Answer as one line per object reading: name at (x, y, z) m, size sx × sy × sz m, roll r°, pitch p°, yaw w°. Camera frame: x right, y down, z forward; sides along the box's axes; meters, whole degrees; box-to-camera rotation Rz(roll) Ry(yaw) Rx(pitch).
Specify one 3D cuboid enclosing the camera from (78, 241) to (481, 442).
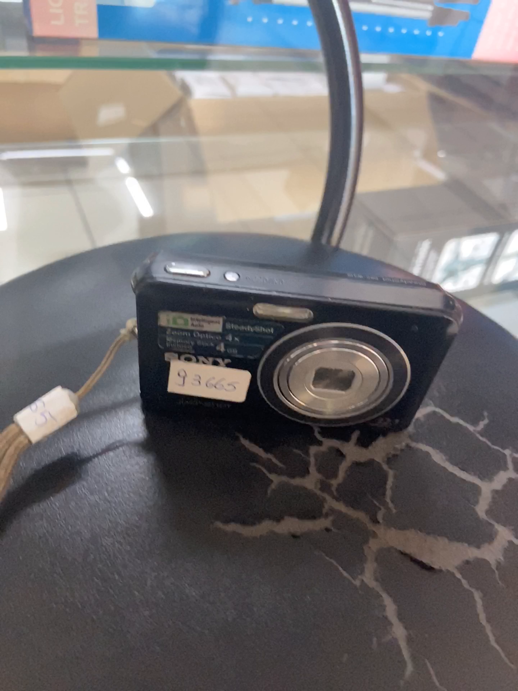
camera at (0.004, 0.001, 0.171) m, size 0.110 × 0.050 × 0.020 m, roll 7°, pitch 42°, yaw -3°
